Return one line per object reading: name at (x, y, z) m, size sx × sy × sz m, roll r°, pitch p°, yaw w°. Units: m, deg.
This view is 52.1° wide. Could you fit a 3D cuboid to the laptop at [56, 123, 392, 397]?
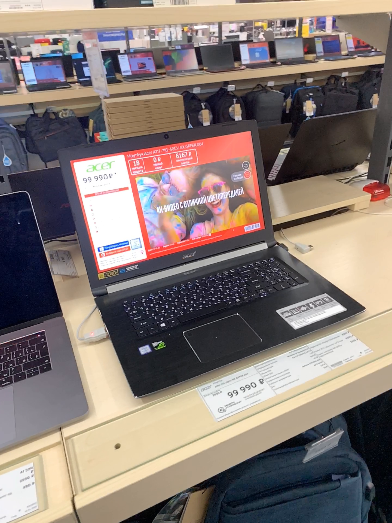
laptop at (0.021, -0.056, 0.694) m, size 0.406 × 0.248 × 0.363 m, roll -15°, pitch 32°, yaw -21°
